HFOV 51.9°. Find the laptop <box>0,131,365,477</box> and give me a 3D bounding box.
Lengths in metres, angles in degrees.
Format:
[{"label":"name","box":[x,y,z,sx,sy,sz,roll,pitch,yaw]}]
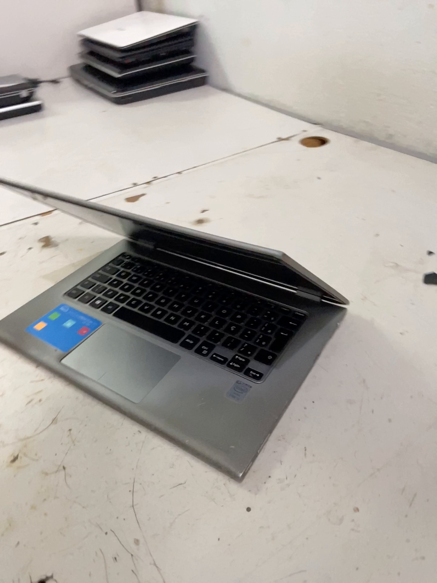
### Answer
[{"label":"laptop","box":[-0.067,-0.028,0.435,0.327,0.155,0.219,18,43,29]}]
